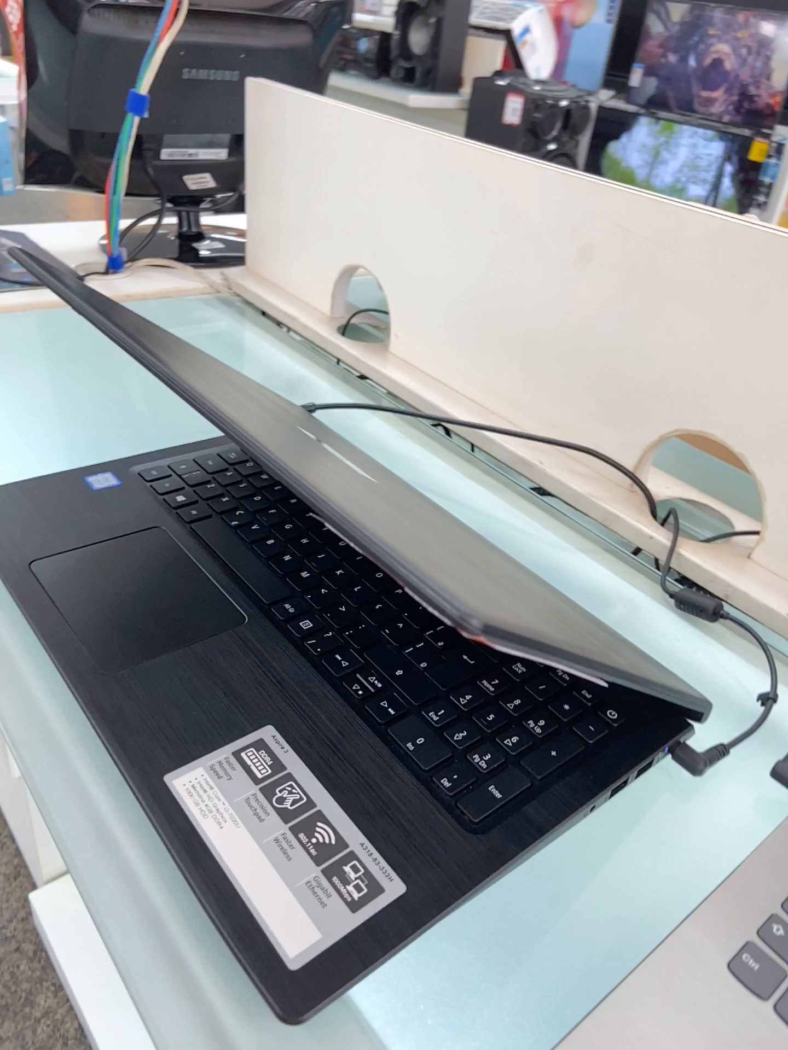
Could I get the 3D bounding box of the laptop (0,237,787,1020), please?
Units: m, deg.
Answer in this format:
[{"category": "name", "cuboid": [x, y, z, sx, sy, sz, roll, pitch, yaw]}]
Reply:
[{"category": "laptop", "cuboid": [-0.053, -0.018, 0.404, 0.233, 0.142, 0.368, -19, 40, -35]}]
